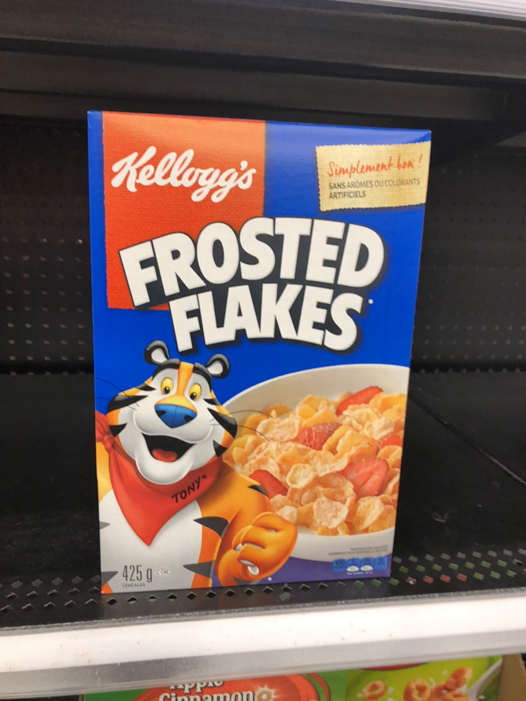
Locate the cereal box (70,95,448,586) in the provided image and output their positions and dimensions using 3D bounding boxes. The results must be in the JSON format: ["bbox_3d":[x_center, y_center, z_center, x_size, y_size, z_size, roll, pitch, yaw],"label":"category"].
[{"bbox_3d":[-0.007,0.000,0.380,0.210,0.289,0.060,0,13,-9],"label":"cereal box"}]
